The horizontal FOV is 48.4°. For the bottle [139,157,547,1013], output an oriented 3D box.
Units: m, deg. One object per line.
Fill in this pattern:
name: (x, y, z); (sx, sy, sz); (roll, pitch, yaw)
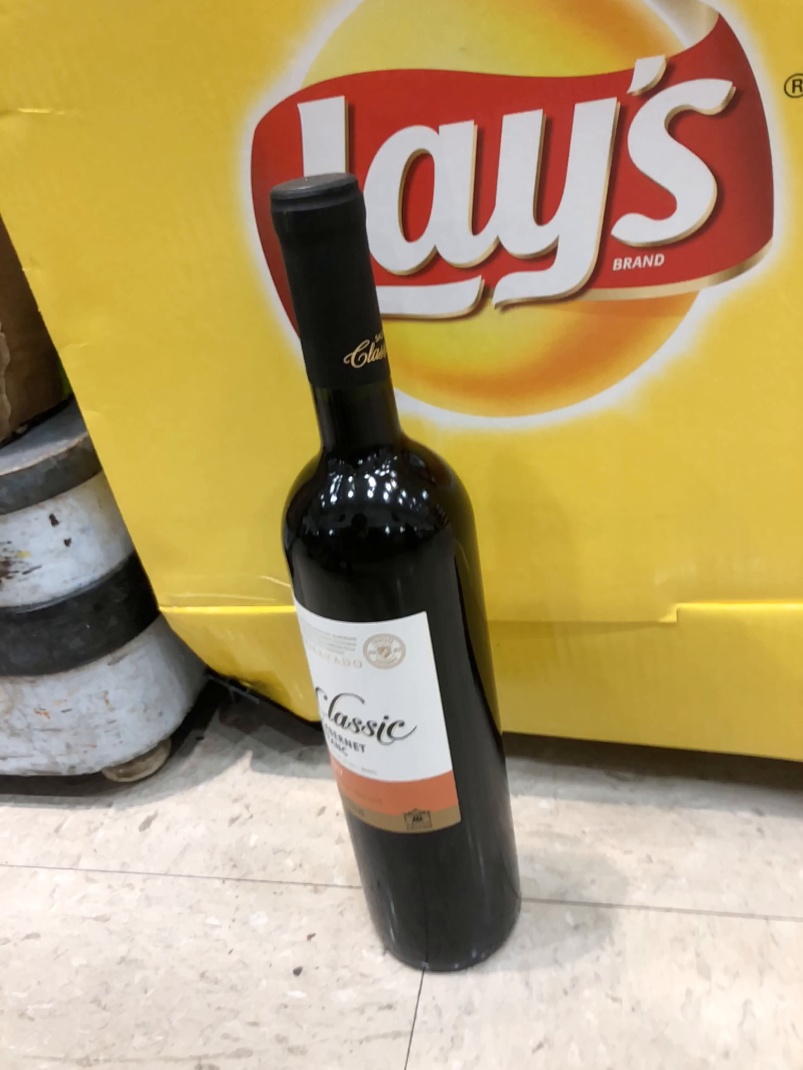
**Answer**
bottle: (-0.004, 0.038, 0.330); (0.070, 0.318, 0.060); (13, 36, 36)
